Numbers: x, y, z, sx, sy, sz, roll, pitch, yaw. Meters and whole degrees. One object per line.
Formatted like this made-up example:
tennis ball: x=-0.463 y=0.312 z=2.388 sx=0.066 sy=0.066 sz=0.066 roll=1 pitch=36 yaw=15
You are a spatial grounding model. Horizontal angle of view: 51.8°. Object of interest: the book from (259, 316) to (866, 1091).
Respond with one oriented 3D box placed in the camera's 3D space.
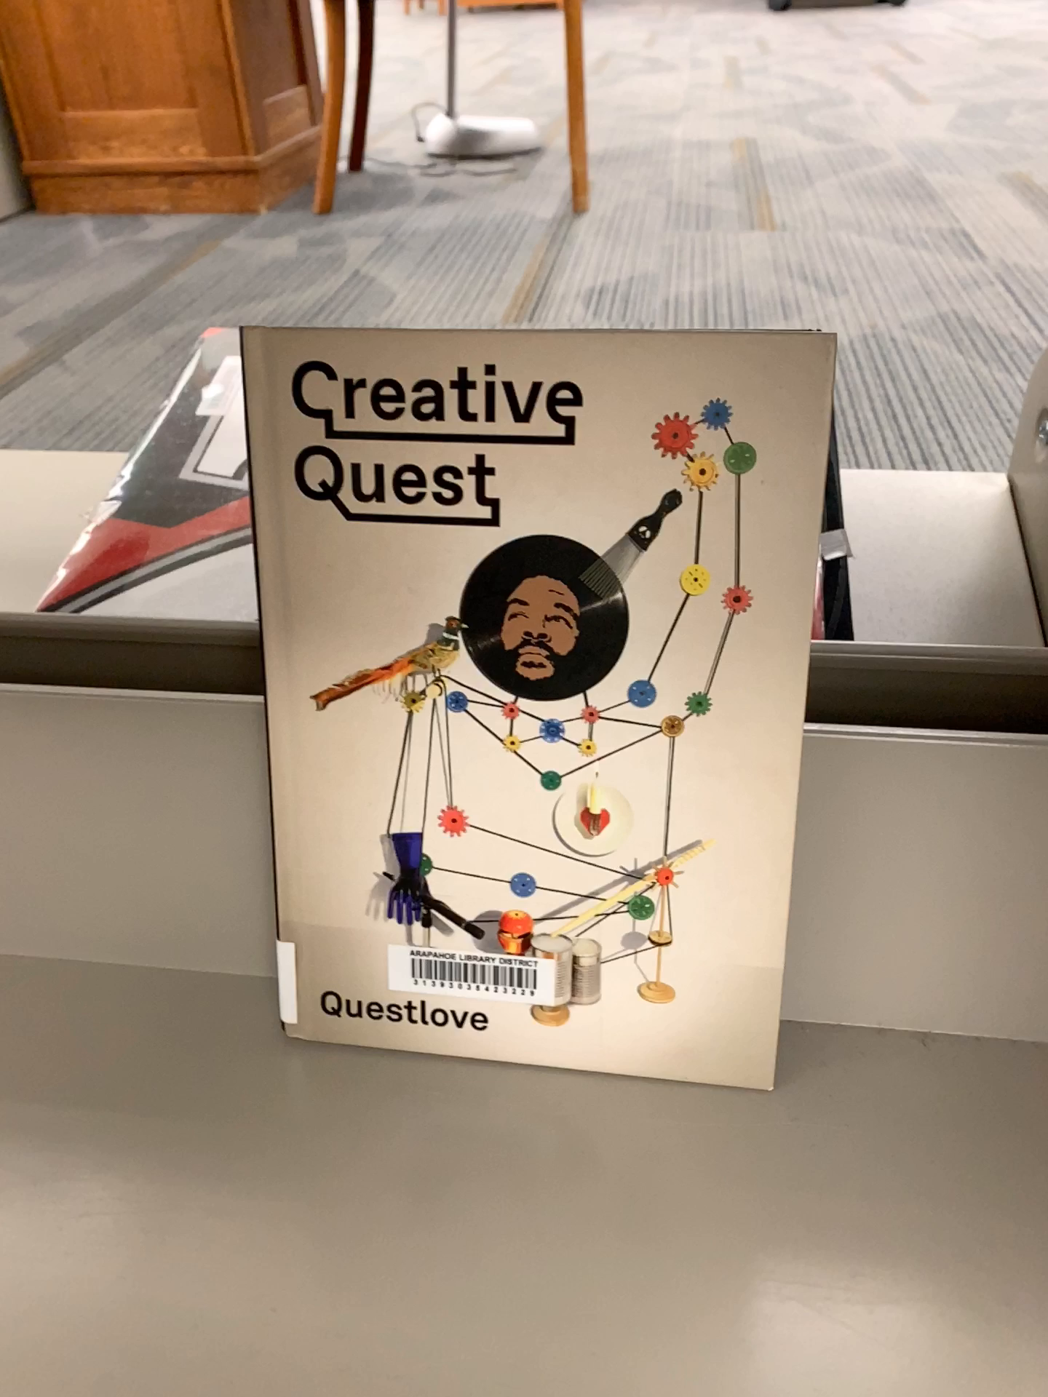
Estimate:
book: x=0.007 y=0.004 z=0.327 sx=0.160 sy=0.223 sz=0.031 roll=3 pitch=16 yaw=9
